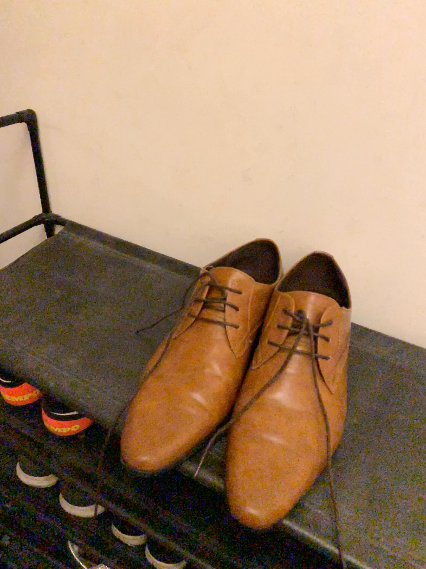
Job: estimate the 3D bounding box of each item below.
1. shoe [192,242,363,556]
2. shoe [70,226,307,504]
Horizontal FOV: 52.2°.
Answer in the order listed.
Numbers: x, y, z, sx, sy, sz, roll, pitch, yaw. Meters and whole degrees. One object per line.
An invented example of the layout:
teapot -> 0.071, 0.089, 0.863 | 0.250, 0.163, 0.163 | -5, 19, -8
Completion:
shoe -> 0.081, 0.079, 0.443 | 0.100, 0.099, 0.303 | 13, 36, 14
shoe -> -0.001, 0.053, 0.465 | 0.100, 0.099, 0.302 | 19, 38, 21
